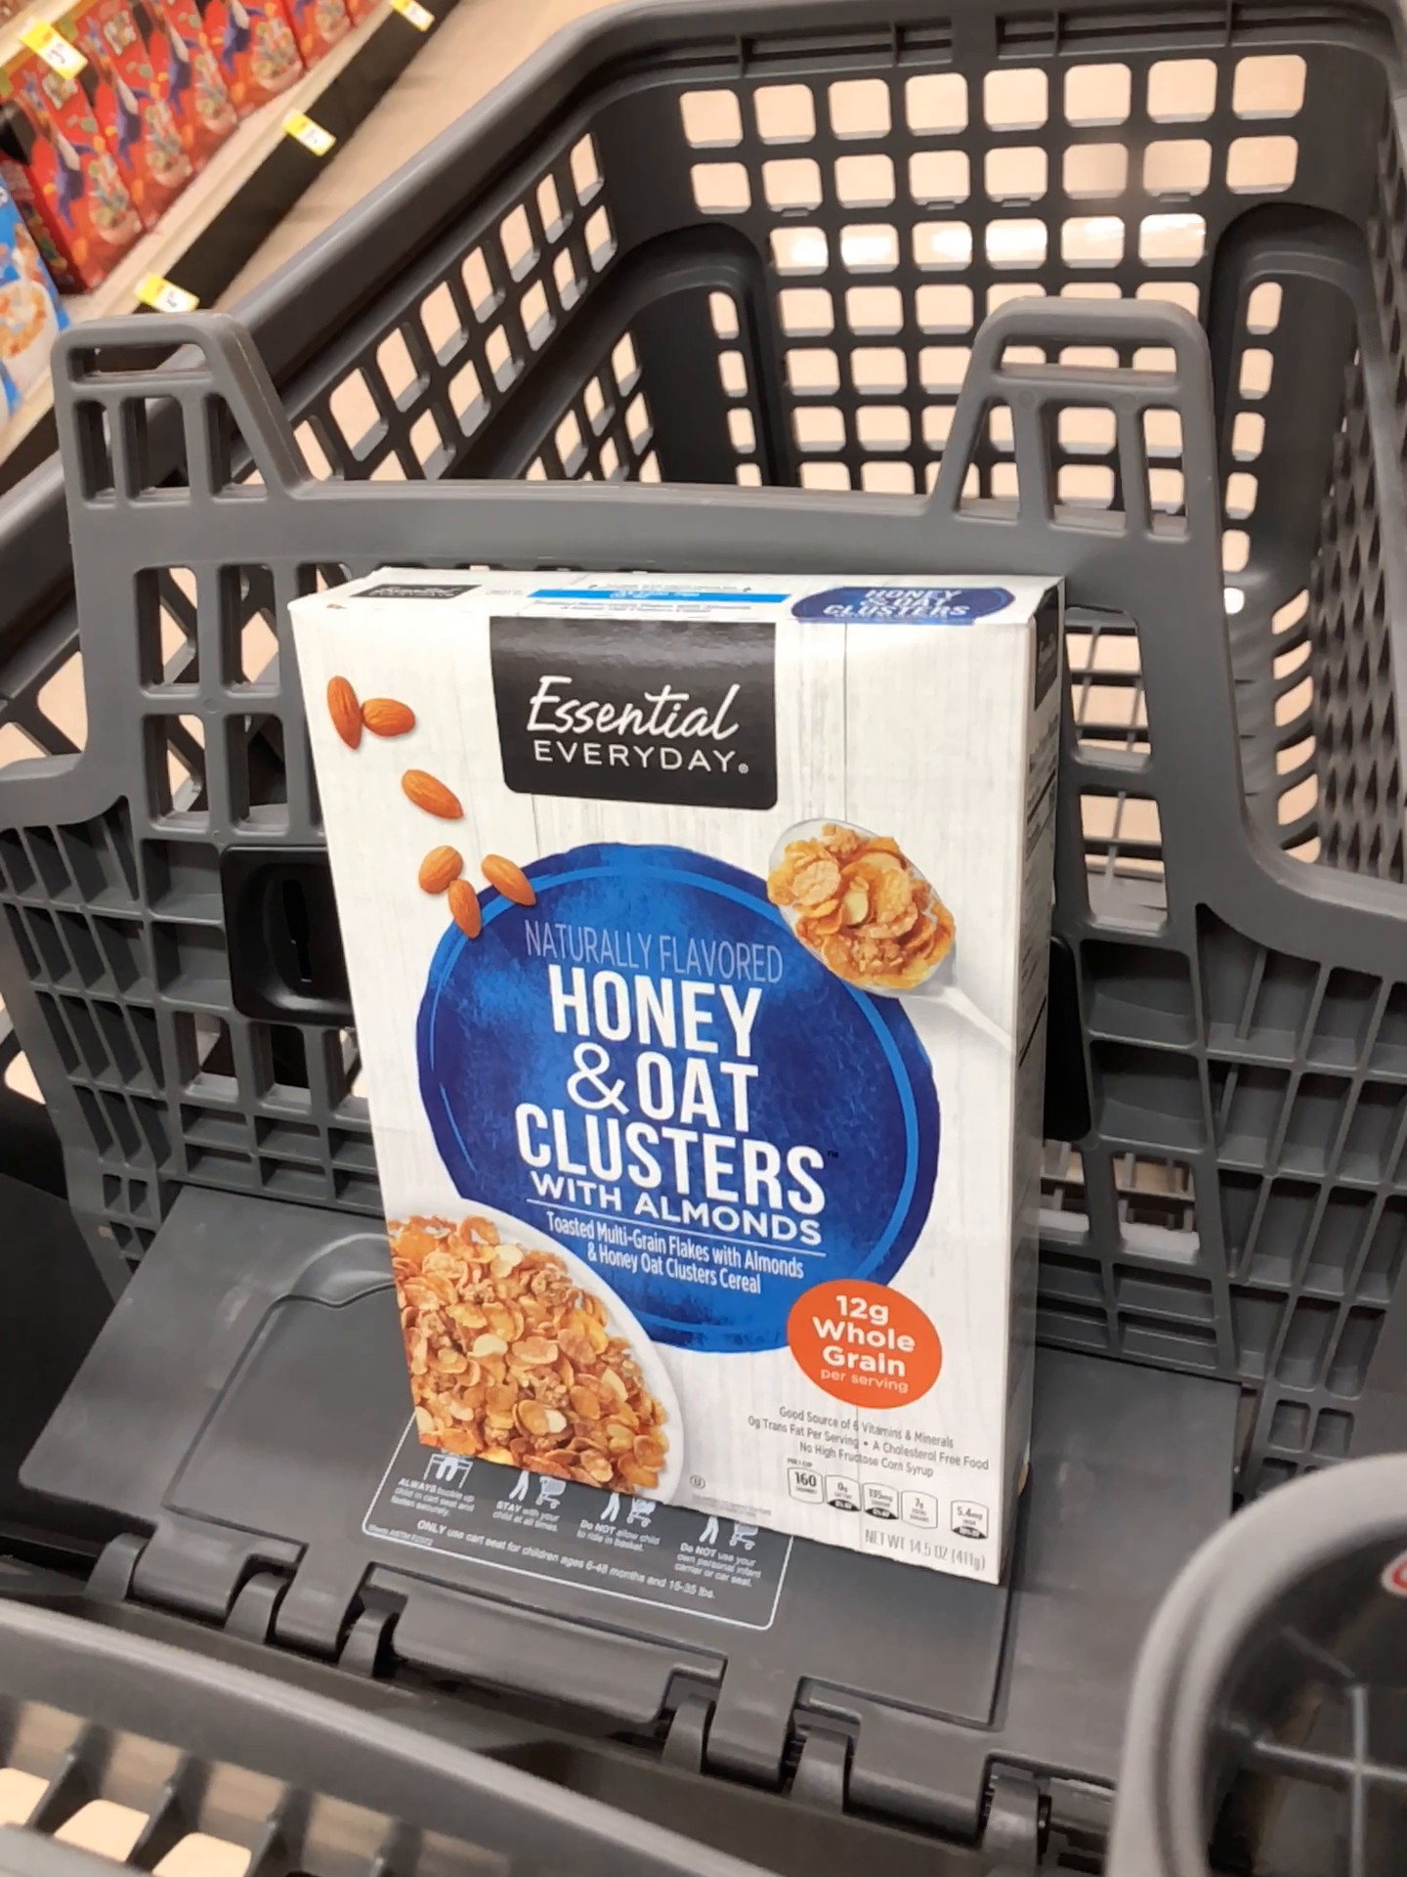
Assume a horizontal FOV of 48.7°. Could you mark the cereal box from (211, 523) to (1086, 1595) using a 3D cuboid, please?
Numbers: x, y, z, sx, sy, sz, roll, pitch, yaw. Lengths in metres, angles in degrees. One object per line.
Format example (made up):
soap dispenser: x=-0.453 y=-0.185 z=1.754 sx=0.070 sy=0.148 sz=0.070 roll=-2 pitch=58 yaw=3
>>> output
cereal box: x=-0.010 y=0.031 z=0.439 sx=0.210 sy=0.280 sz=0.060 roll=6 pitch=25 yaw=20
